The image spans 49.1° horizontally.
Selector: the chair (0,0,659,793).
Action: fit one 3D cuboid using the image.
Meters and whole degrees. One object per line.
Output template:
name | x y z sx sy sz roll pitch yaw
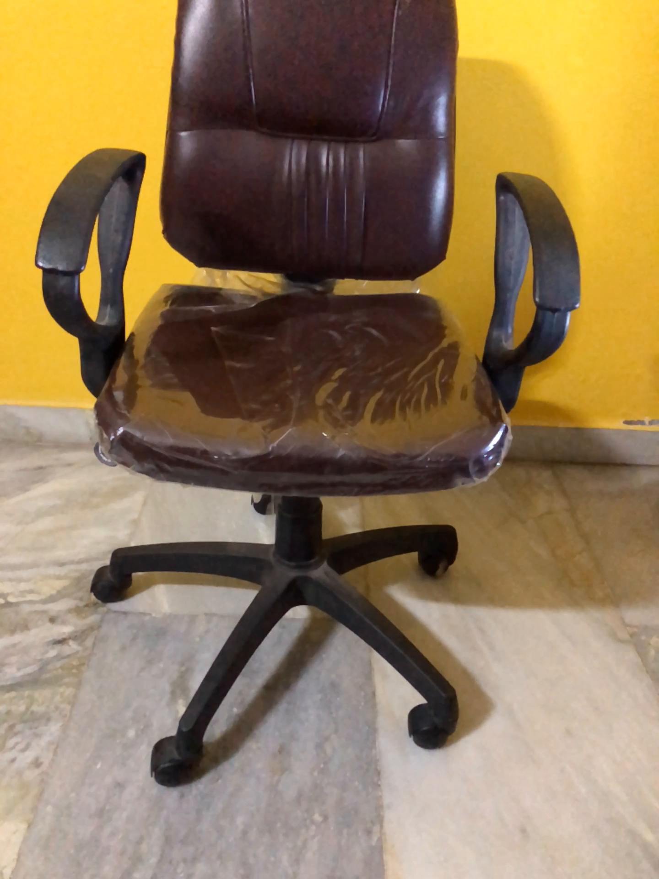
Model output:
chair | -0.035 -0.159 0.962 0.690 0.973 0.684 0 32 -5
